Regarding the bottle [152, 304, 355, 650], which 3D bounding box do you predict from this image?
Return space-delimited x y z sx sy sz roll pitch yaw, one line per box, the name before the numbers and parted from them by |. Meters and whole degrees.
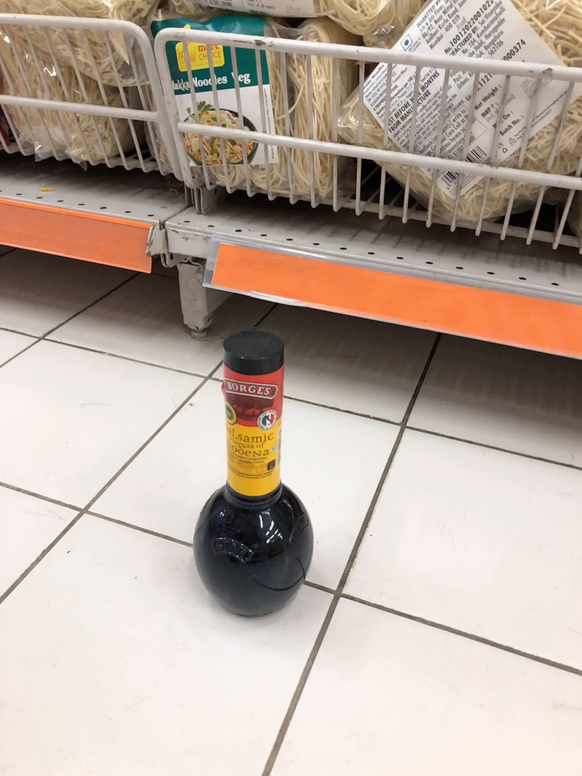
bottle | -0.019 0.055 0.385 0.080 0.179 0.081 1 32 -1
